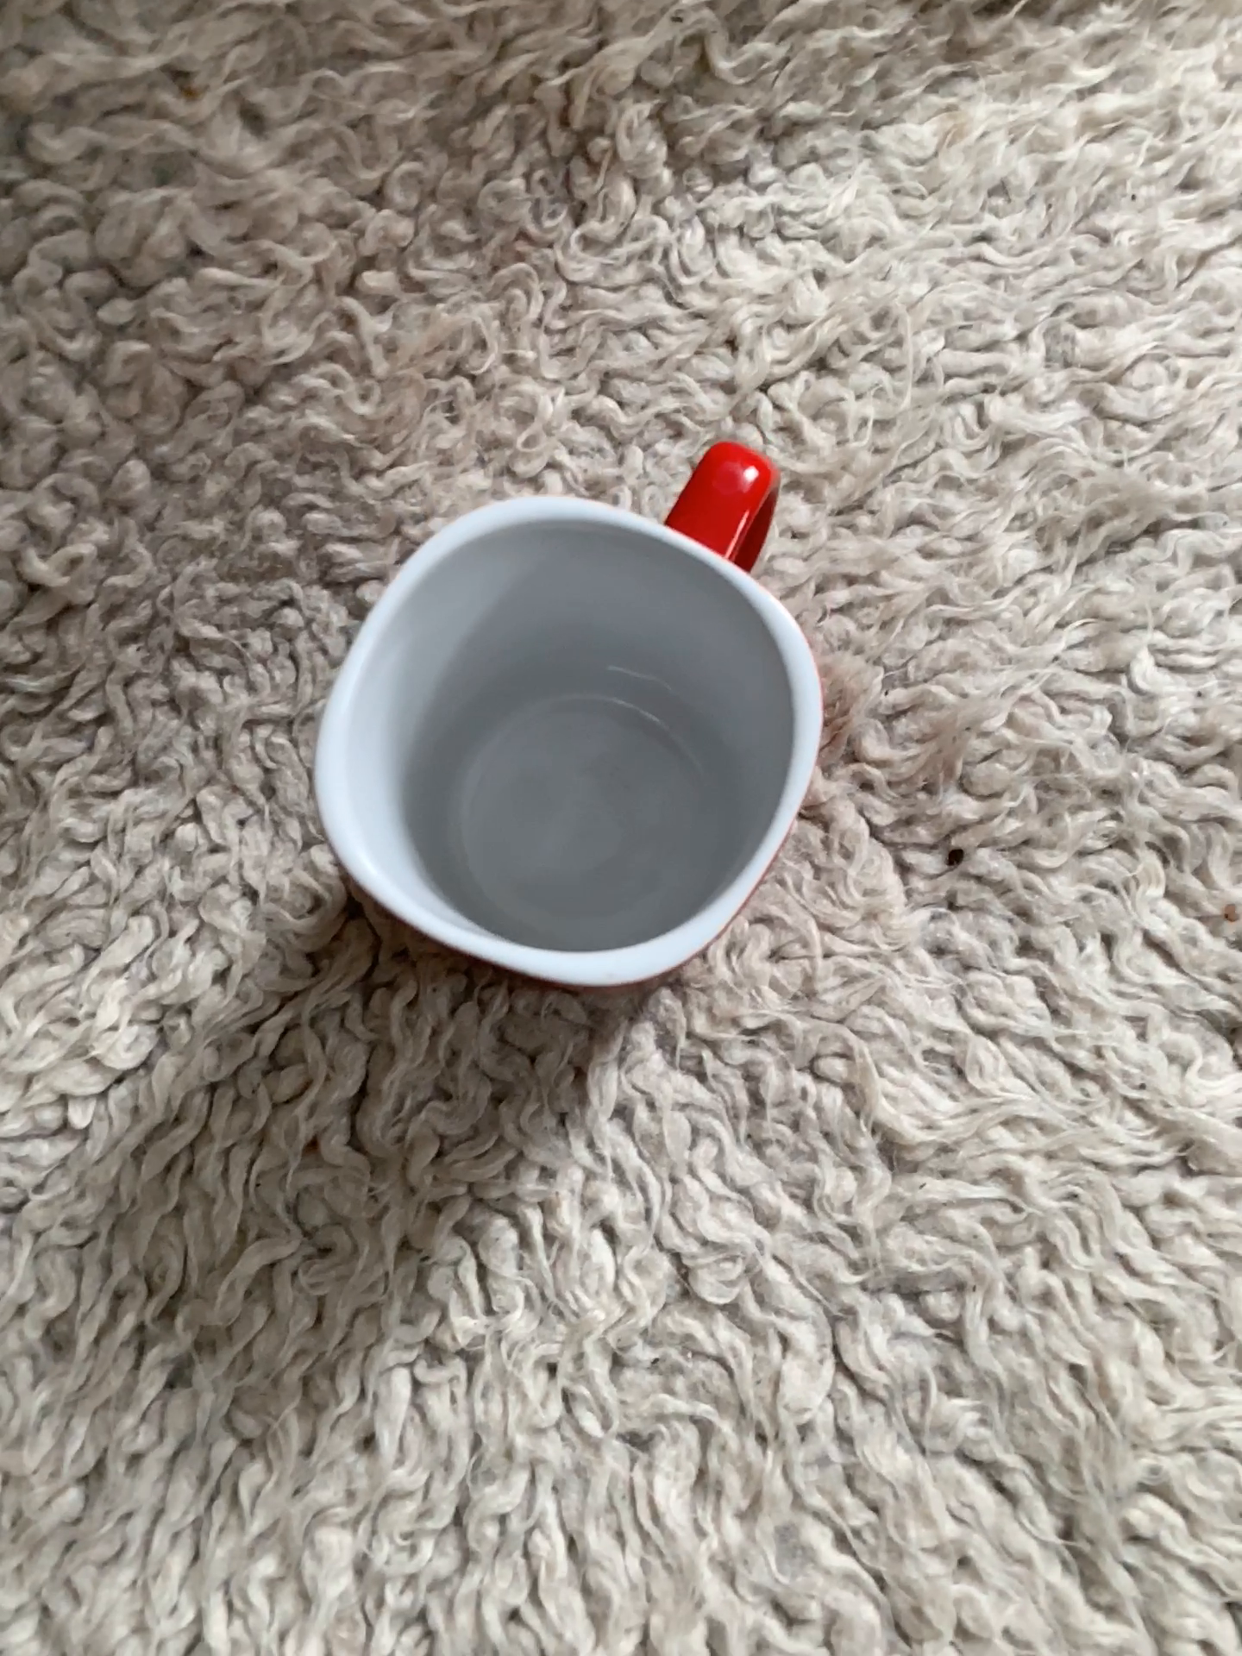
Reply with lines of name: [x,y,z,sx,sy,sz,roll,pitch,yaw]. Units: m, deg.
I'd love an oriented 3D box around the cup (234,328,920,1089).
cup: [-0.006,-0.017,0.291,0.087,0.111,0.122,22,81,4]
